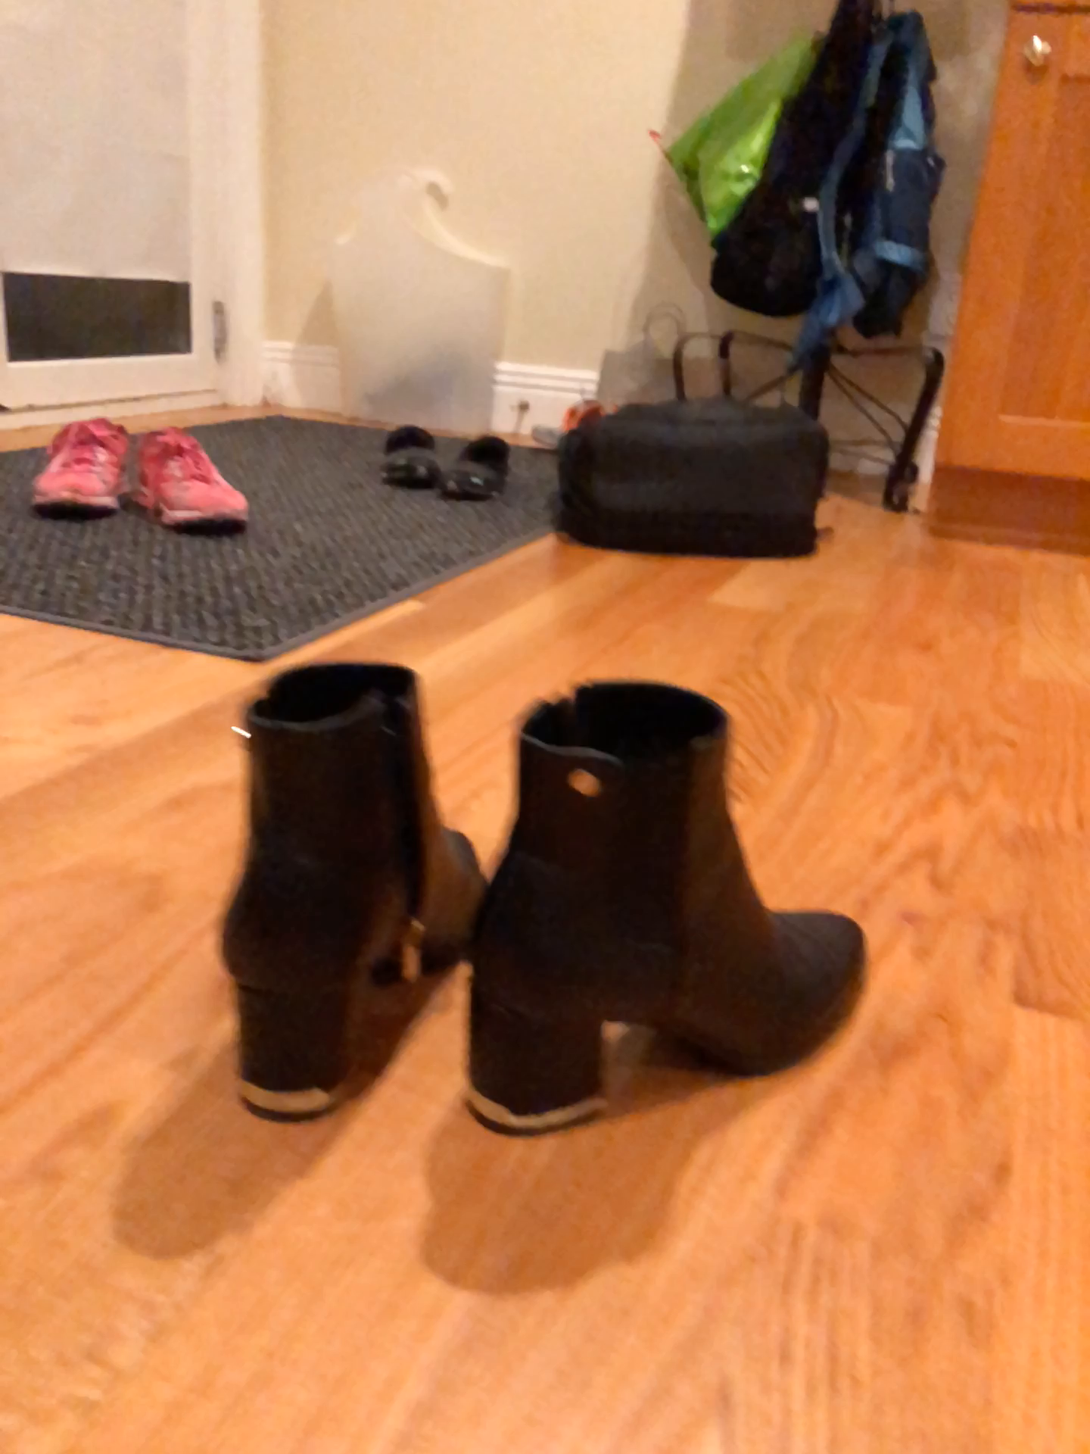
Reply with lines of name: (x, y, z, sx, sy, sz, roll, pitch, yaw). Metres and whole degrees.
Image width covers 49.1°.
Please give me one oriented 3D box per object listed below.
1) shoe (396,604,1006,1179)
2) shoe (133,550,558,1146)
shoe: (0.066, 0.053, 0.512, 0.236, 0.175, 0.095, -9, 23, -33)
shoe: (-0.074, 0.032, 0.543, 0.095, 0.175, 0.237, 8, 20, 12)
